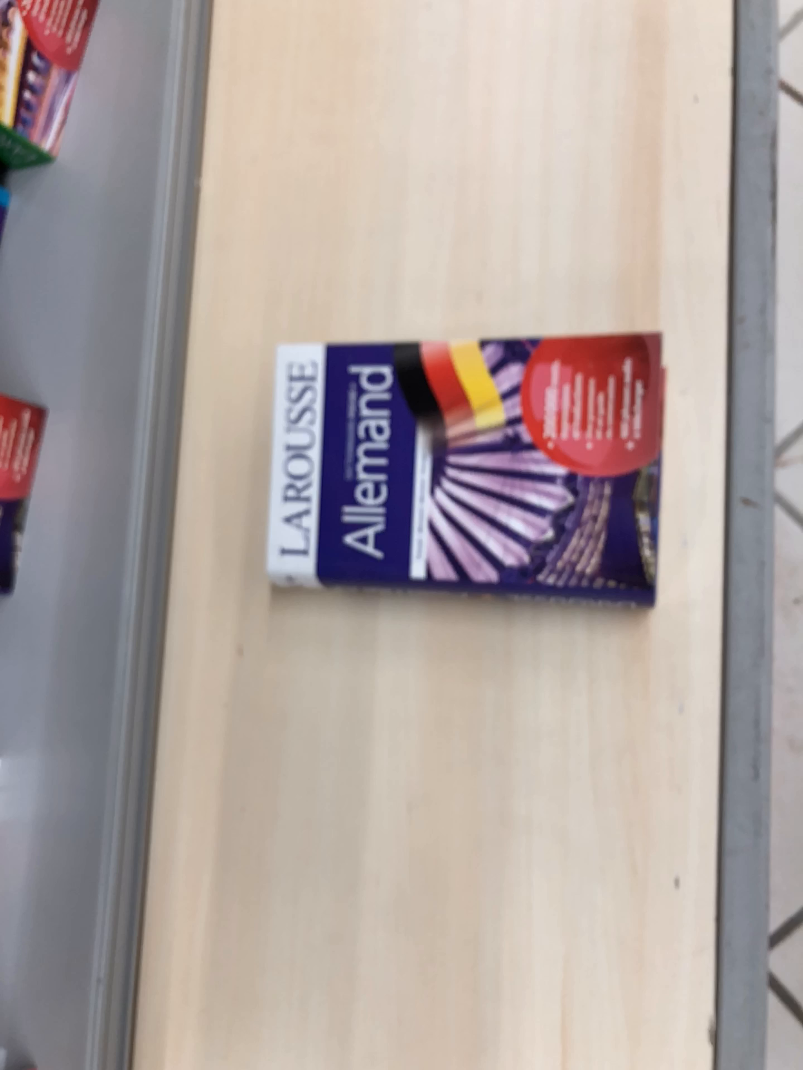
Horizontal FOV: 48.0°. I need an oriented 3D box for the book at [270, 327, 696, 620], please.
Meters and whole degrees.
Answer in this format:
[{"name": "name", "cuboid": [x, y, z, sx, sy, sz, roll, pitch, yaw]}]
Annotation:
[{"name": "book", "cuboid": [0.038, -0.028, 0.418, 0.181, 0.050, 0.120, 2, 82, 16]}]
